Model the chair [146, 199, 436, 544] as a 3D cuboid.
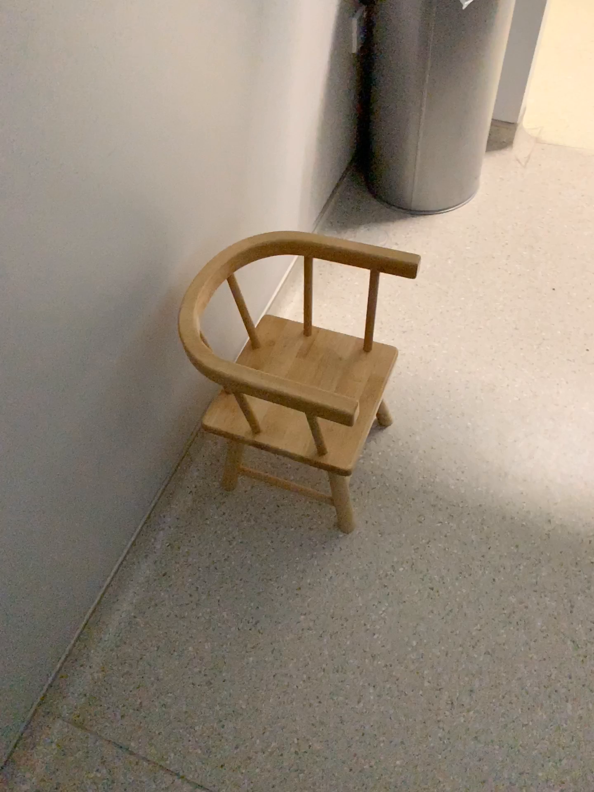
[{"bbox_3d":[0.020,-0.032,1.159,0.343,0.482,0.363,19,59,18],"label":"chair"}]
